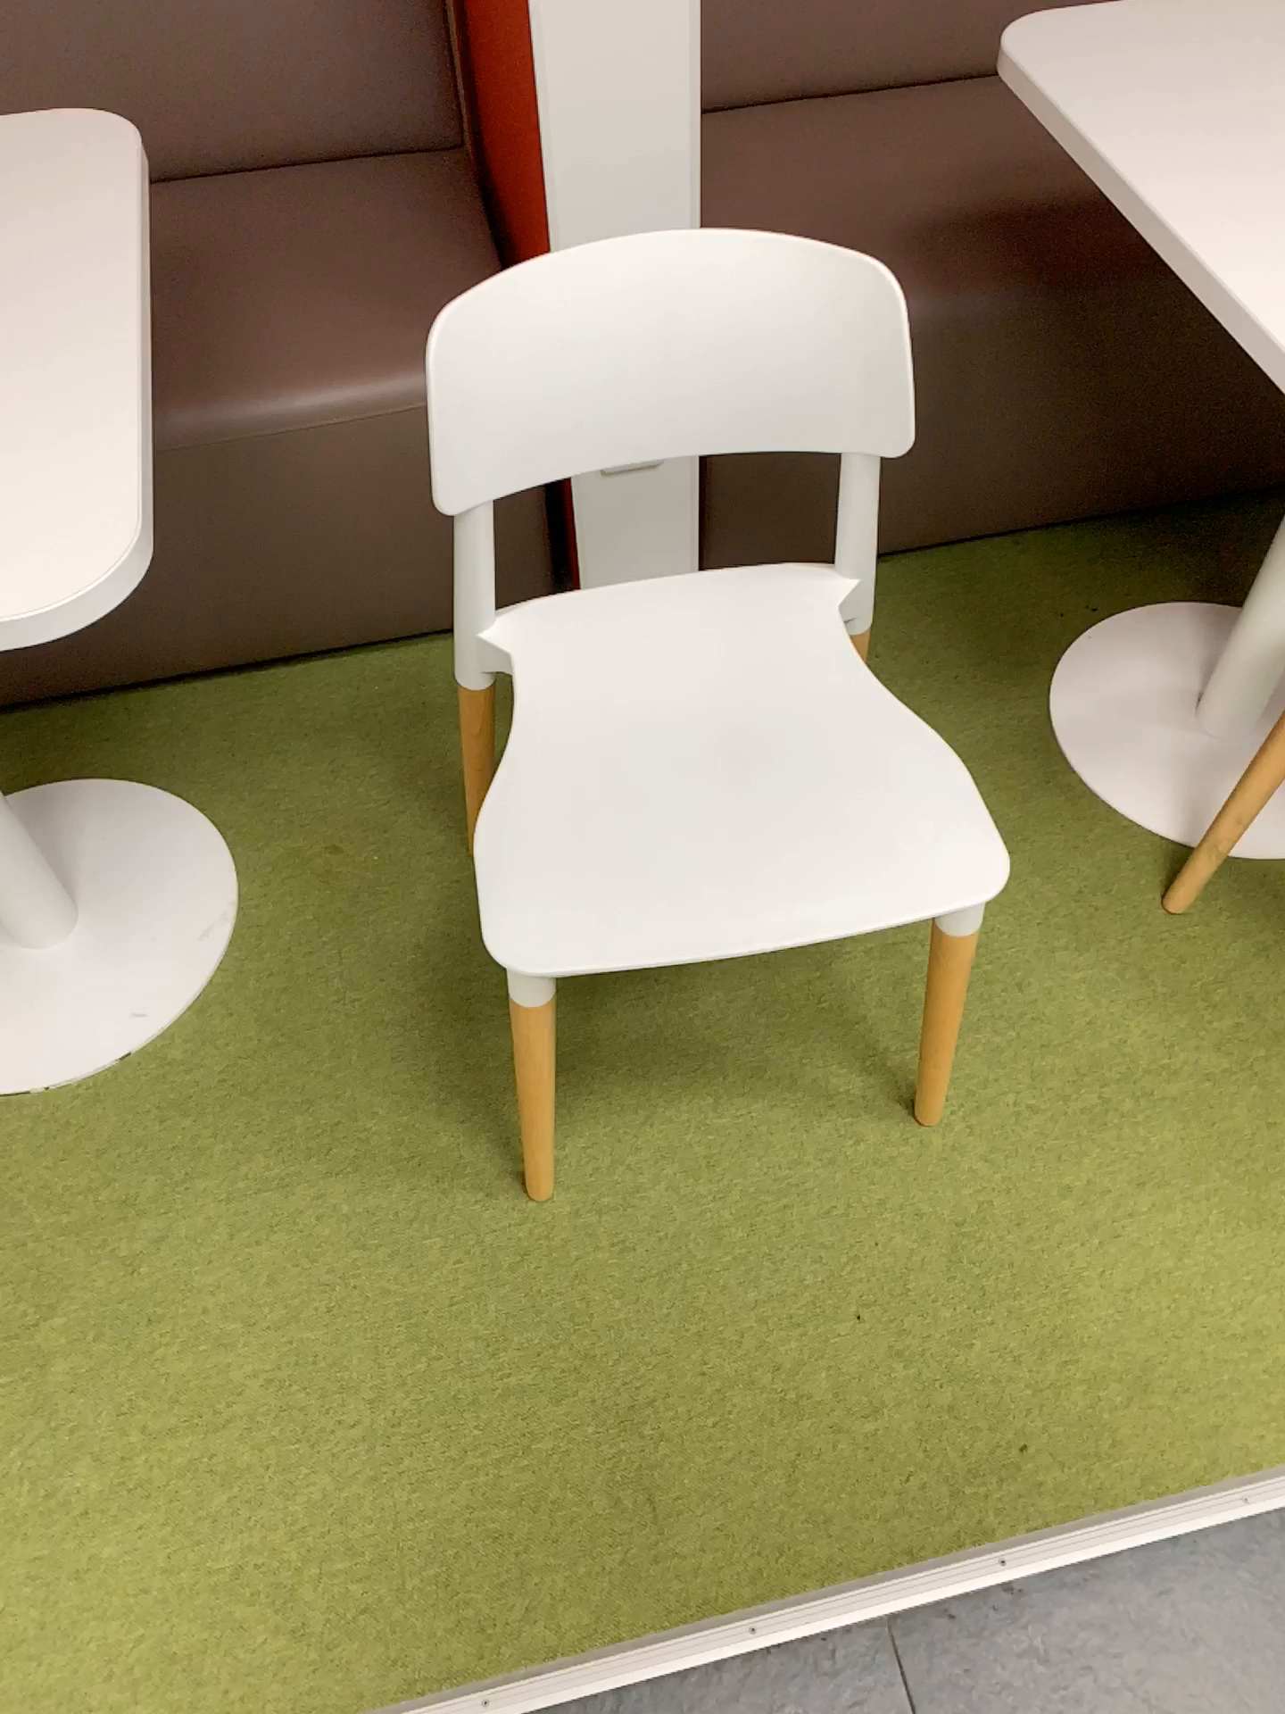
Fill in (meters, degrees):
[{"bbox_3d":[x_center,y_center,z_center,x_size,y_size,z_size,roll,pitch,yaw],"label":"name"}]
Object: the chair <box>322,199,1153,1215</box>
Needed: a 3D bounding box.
[{"bbox_3d":[0.036,-0.089,1.258,0.500,0.787,0.502,-9,53,-5],"label":"chair"}]
